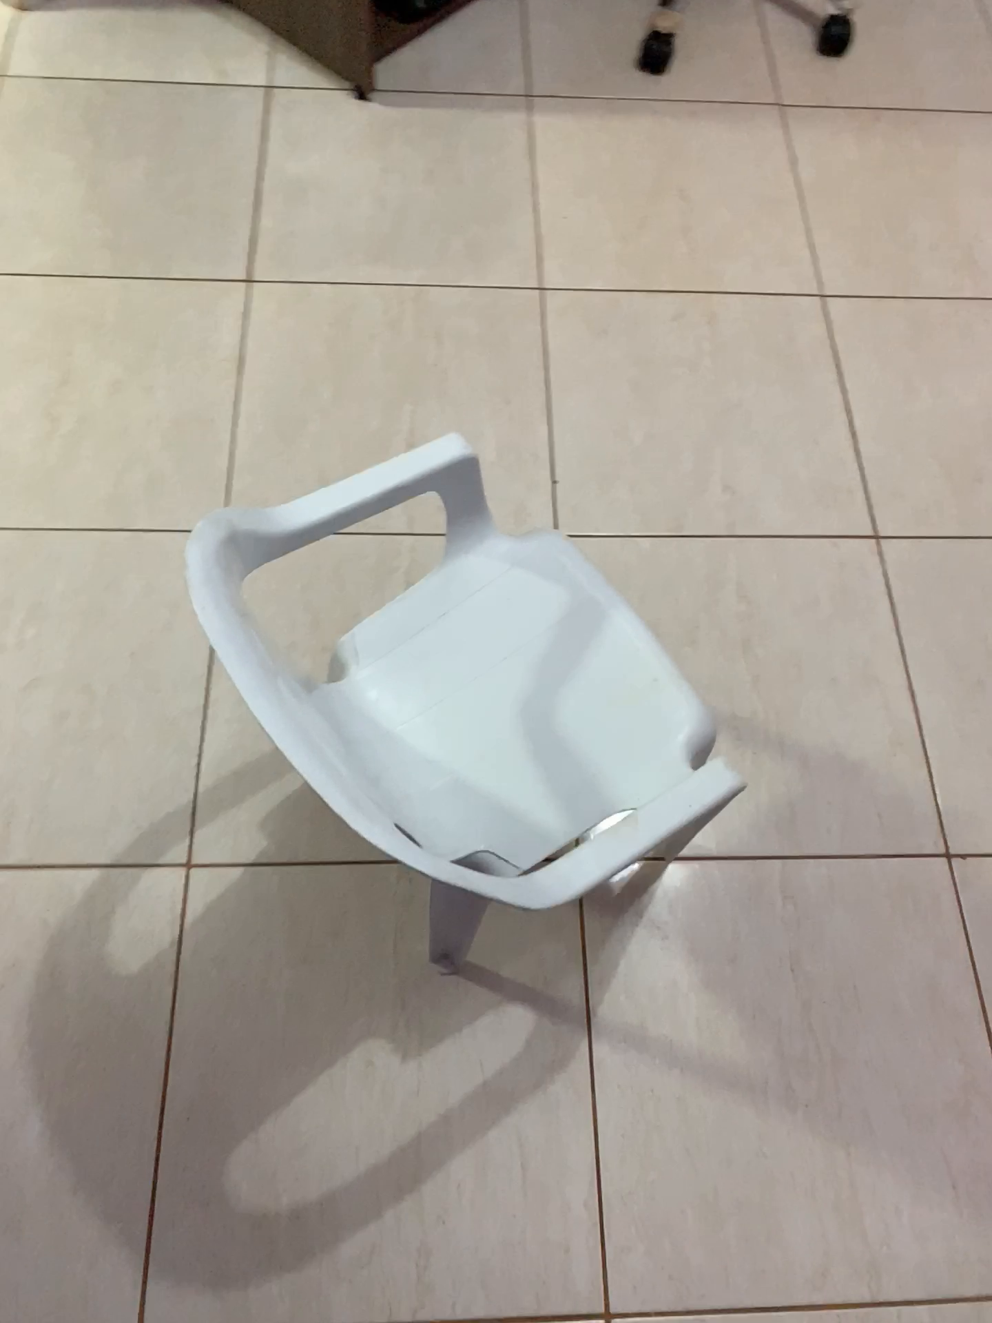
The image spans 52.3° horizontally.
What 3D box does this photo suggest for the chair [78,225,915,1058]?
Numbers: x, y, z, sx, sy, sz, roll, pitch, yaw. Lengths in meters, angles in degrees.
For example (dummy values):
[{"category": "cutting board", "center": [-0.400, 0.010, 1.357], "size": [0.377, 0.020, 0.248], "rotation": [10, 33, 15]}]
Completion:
[{"category": "chair", "center": [-0.022, 0.044, 0.902], "size": [0.361, 0.597, 0.401], "rotation": [-32, 70, -17]}]
